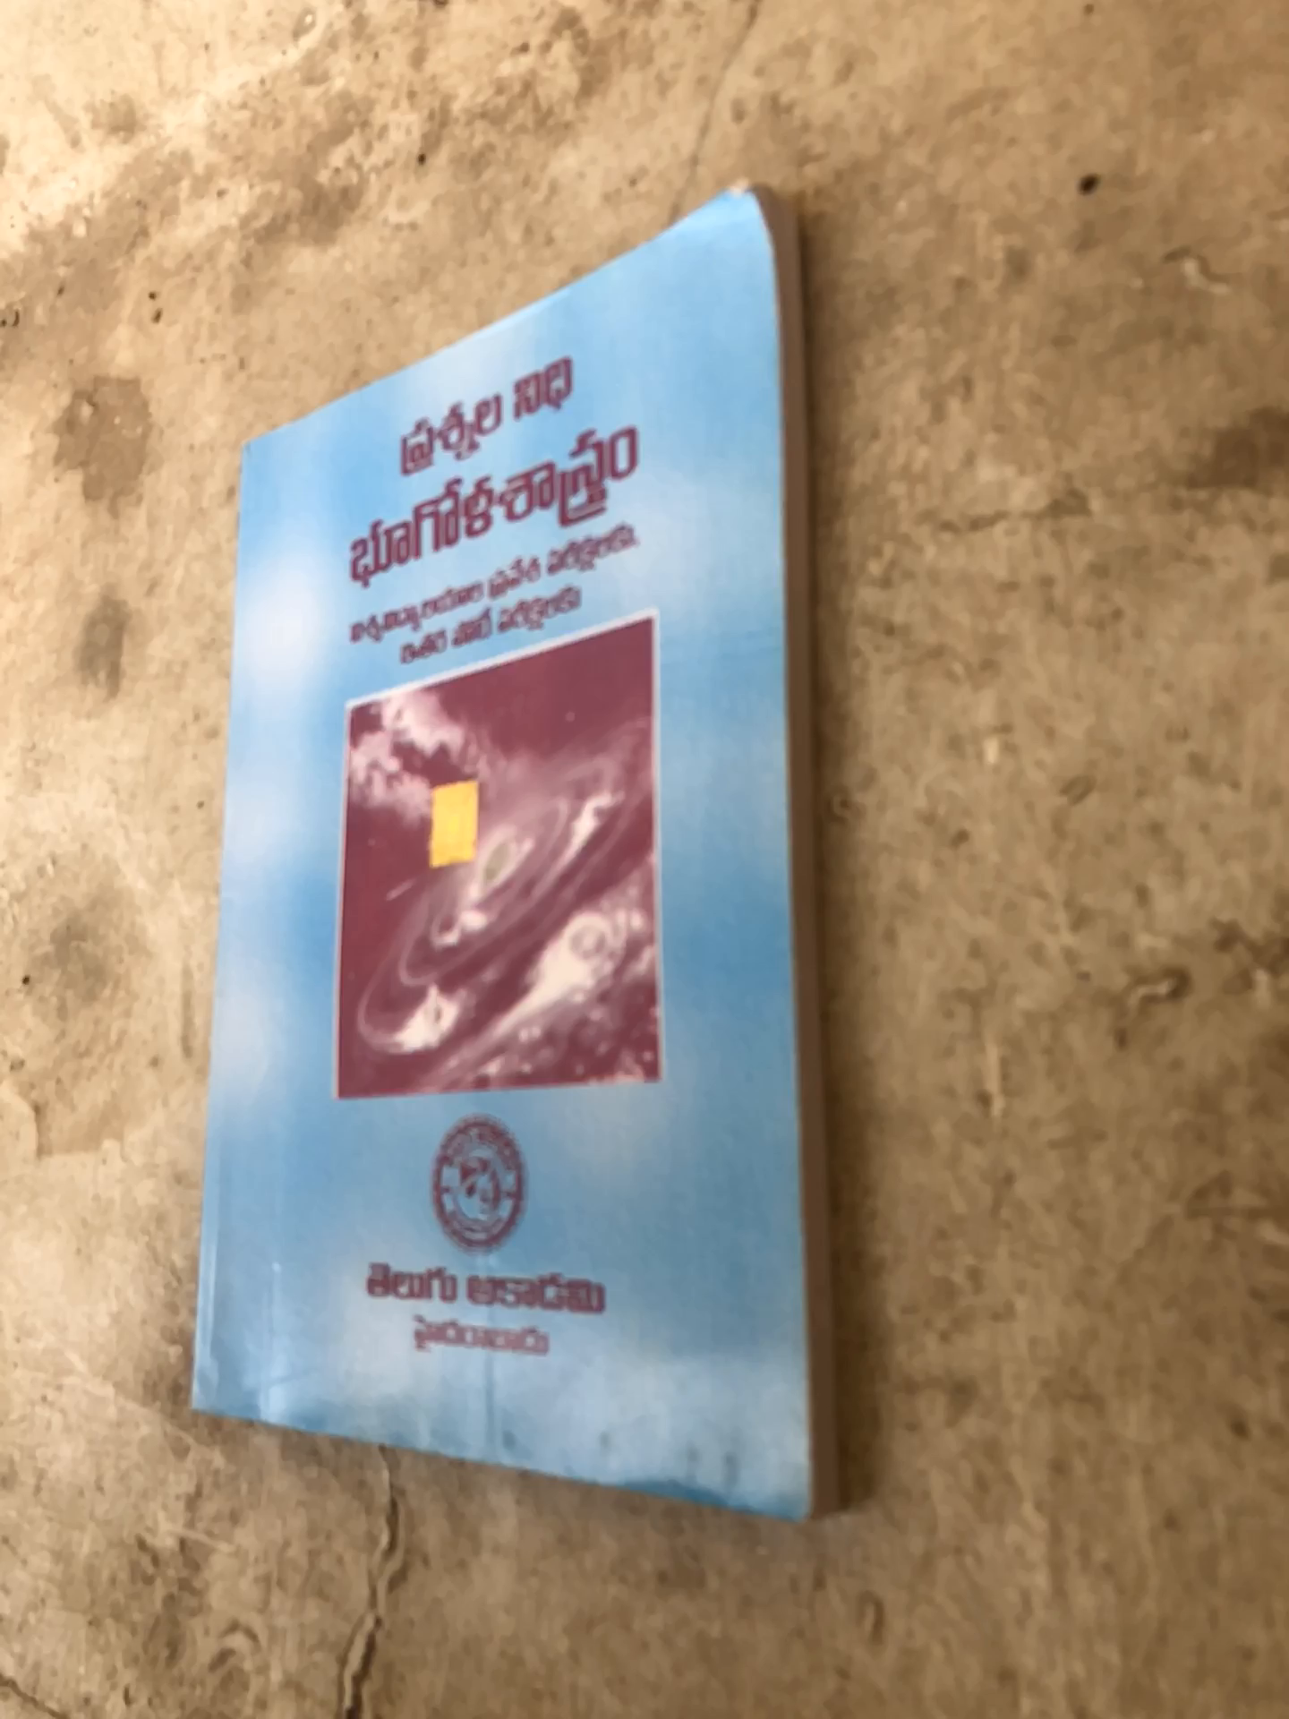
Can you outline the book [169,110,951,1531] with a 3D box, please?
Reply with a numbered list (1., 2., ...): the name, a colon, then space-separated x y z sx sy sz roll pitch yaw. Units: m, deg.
1. book: -0.032 -0.005 0.333 0.191 0.040 0.270 -10 75 37
